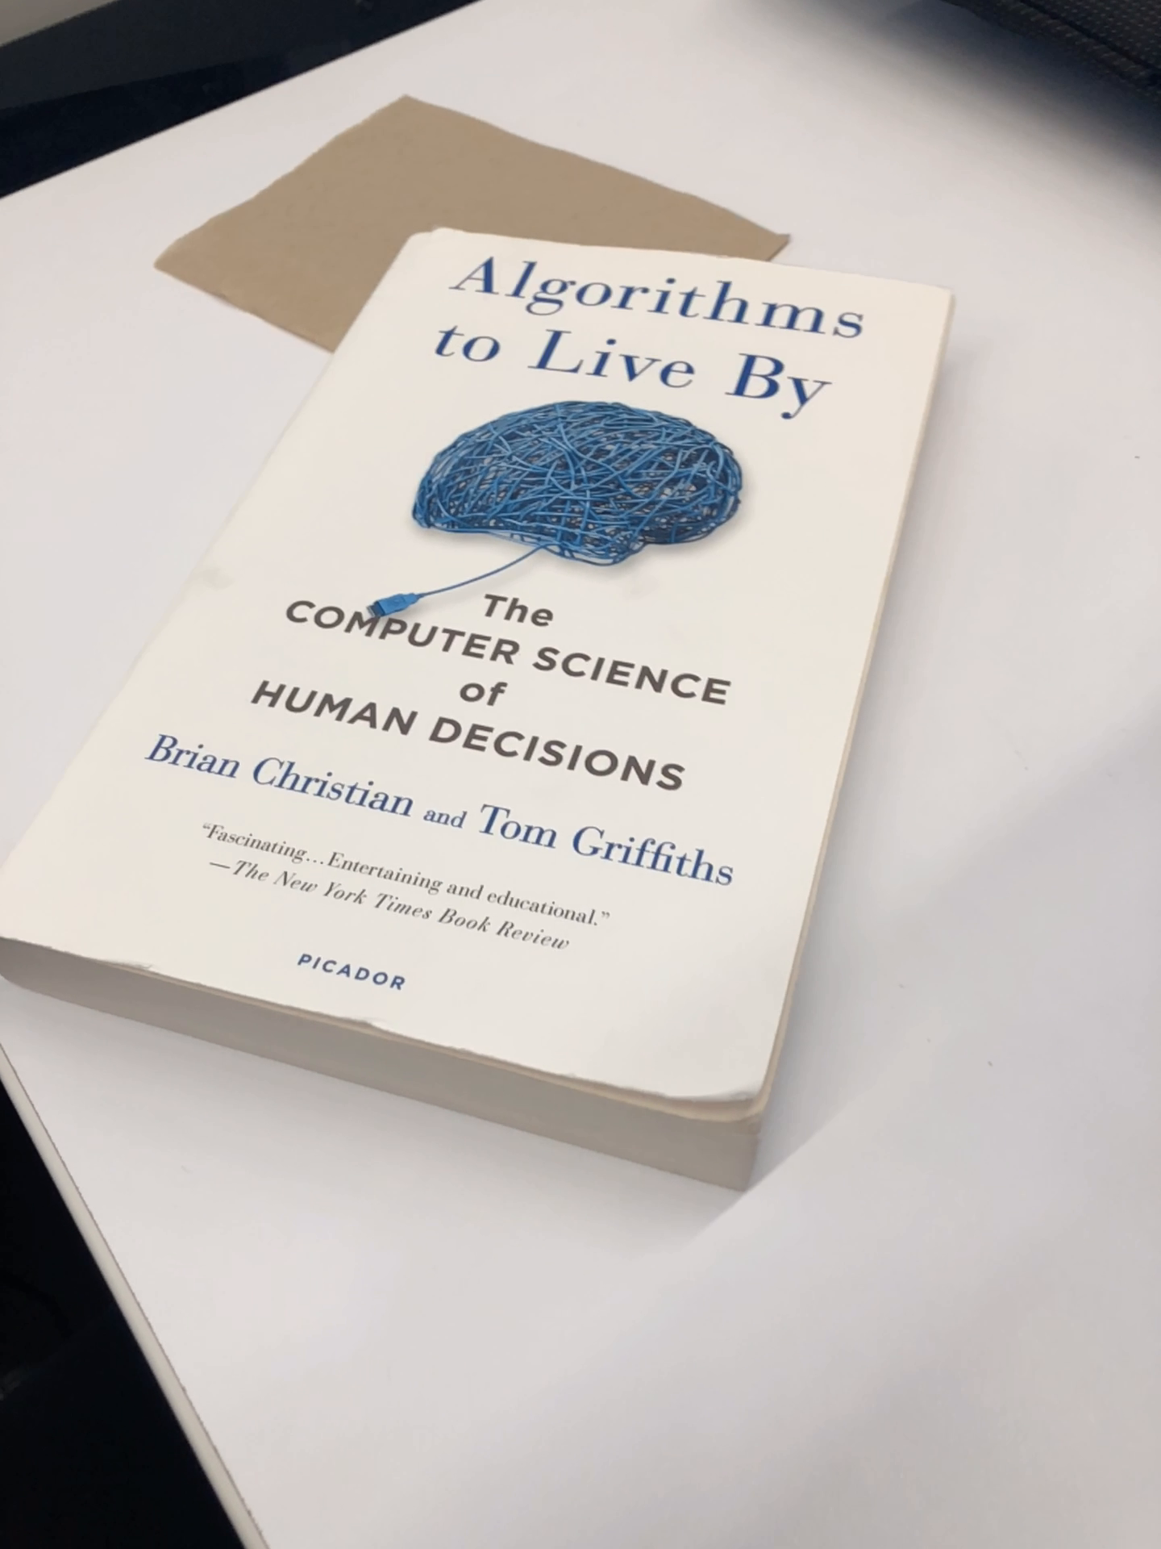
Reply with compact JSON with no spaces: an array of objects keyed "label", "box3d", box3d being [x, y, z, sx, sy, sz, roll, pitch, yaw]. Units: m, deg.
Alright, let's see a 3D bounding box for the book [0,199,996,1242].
[{"label":"book","box3d":[-0.010,-0.037,0.276,0.160,0.040,0.220,11,55,13]}]
